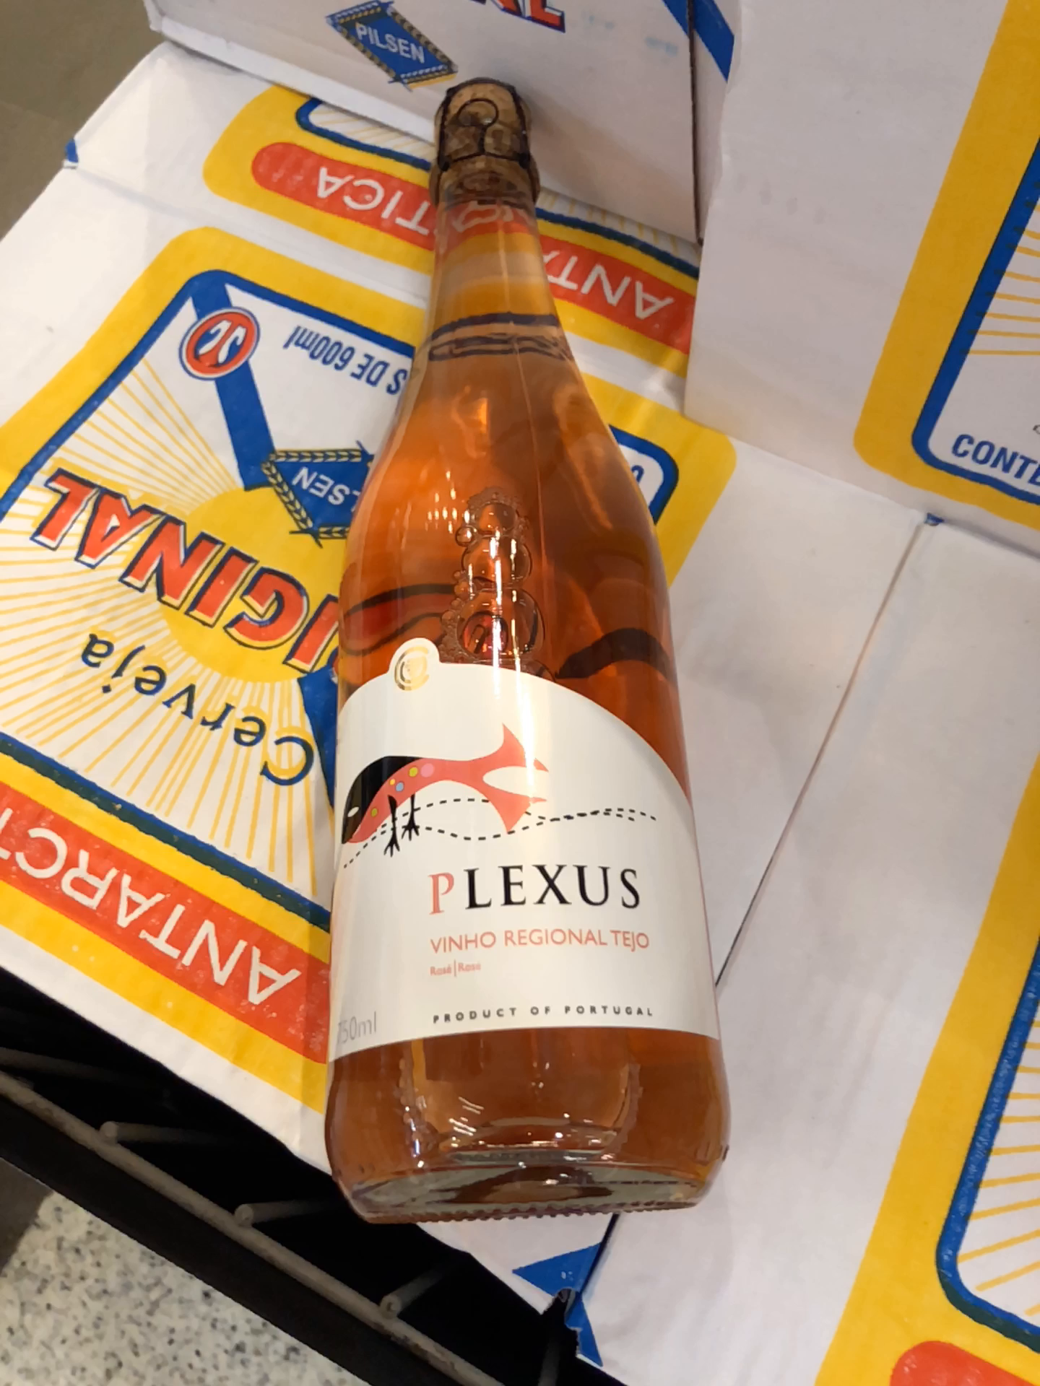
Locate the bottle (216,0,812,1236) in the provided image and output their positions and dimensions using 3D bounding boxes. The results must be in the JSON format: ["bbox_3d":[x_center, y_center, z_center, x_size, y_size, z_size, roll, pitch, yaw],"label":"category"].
[{"bbox_3d":[-0.006,-0.038,0.267,0.090,0.070,0.291,-4,65,2],"label":"bottle"}]
